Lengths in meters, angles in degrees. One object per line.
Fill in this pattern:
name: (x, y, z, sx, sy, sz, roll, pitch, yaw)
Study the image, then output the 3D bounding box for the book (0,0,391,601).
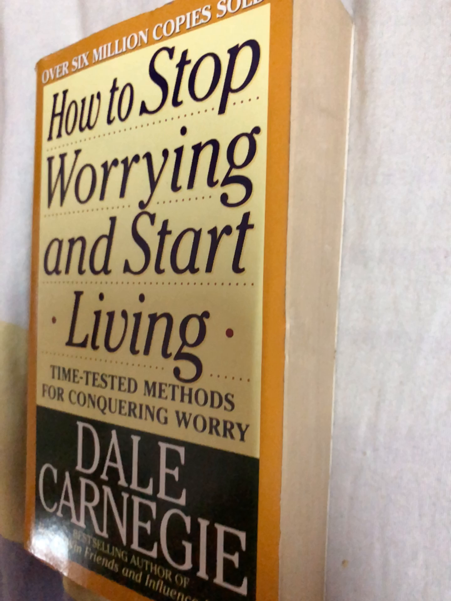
book: (-0.014, 0.001, 0.161, 0.110, 0.050, 0.170, 2, 90, 33)
